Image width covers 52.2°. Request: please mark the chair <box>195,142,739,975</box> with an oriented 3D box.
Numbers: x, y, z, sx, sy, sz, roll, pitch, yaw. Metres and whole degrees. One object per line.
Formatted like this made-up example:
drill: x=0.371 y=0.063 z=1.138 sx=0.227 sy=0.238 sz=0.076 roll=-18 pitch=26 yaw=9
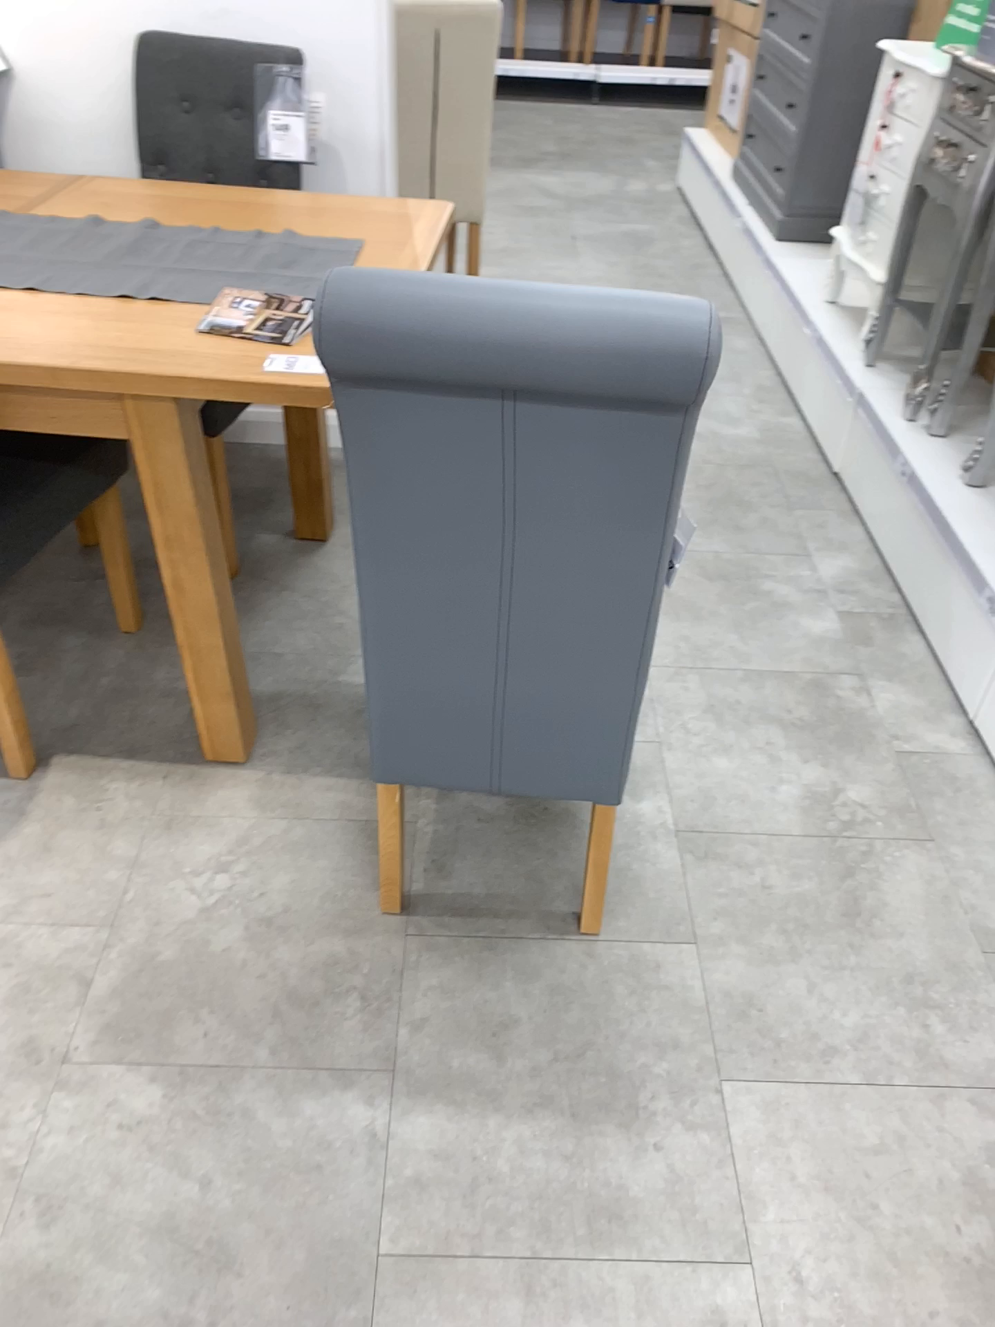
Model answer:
chair: x=-0.024 y=-0.138 z=1.417 sx=0.472 sy=0.906 sz=0.660 roll=5 pitch=39 yaw=2
